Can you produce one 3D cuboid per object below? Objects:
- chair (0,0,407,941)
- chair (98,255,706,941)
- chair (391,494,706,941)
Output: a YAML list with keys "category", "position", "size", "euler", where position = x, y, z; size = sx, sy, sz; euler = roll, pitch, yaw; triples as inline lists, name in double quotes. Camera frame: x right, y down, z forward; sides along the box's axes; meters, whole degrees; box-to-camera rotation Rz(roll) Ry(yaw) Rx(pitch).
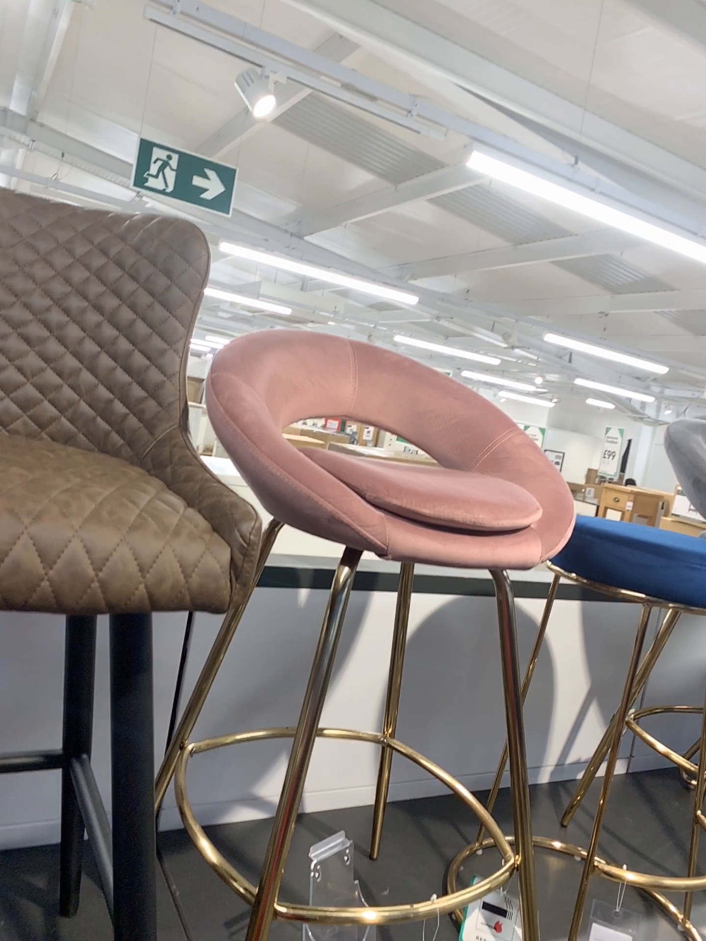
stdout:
- category: "chair"
  position: [-0.366, 0.146, 0.692]
  size: [0.502, 0.959, 0.451]
  euler: [8, 4, -32]
- category: "chair"
  position: [0.017, 0.241, 0.931]
  size: [0.492, 0.859, 0.462]
  euler: [9, 4, -25]
- category: "chair"
  position: [0.415, 0.406, 1.129]
  size: [0.462, 0.620, 0.432]
  euler: [8, 4, -25]
